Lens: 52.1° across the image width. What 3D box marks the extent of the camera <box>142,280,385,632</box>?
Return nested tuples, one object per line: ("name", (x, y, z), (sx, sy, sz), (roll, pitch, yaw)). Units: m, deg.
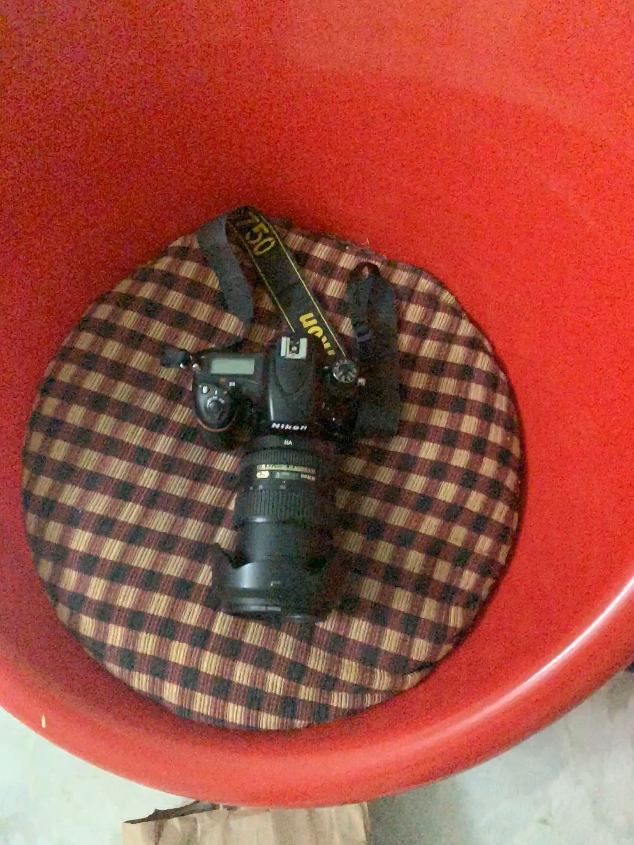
("camera", (-0.035, 0.038, 0.560), (0.160, 0.180, 0.252), (3, 76, 0))
